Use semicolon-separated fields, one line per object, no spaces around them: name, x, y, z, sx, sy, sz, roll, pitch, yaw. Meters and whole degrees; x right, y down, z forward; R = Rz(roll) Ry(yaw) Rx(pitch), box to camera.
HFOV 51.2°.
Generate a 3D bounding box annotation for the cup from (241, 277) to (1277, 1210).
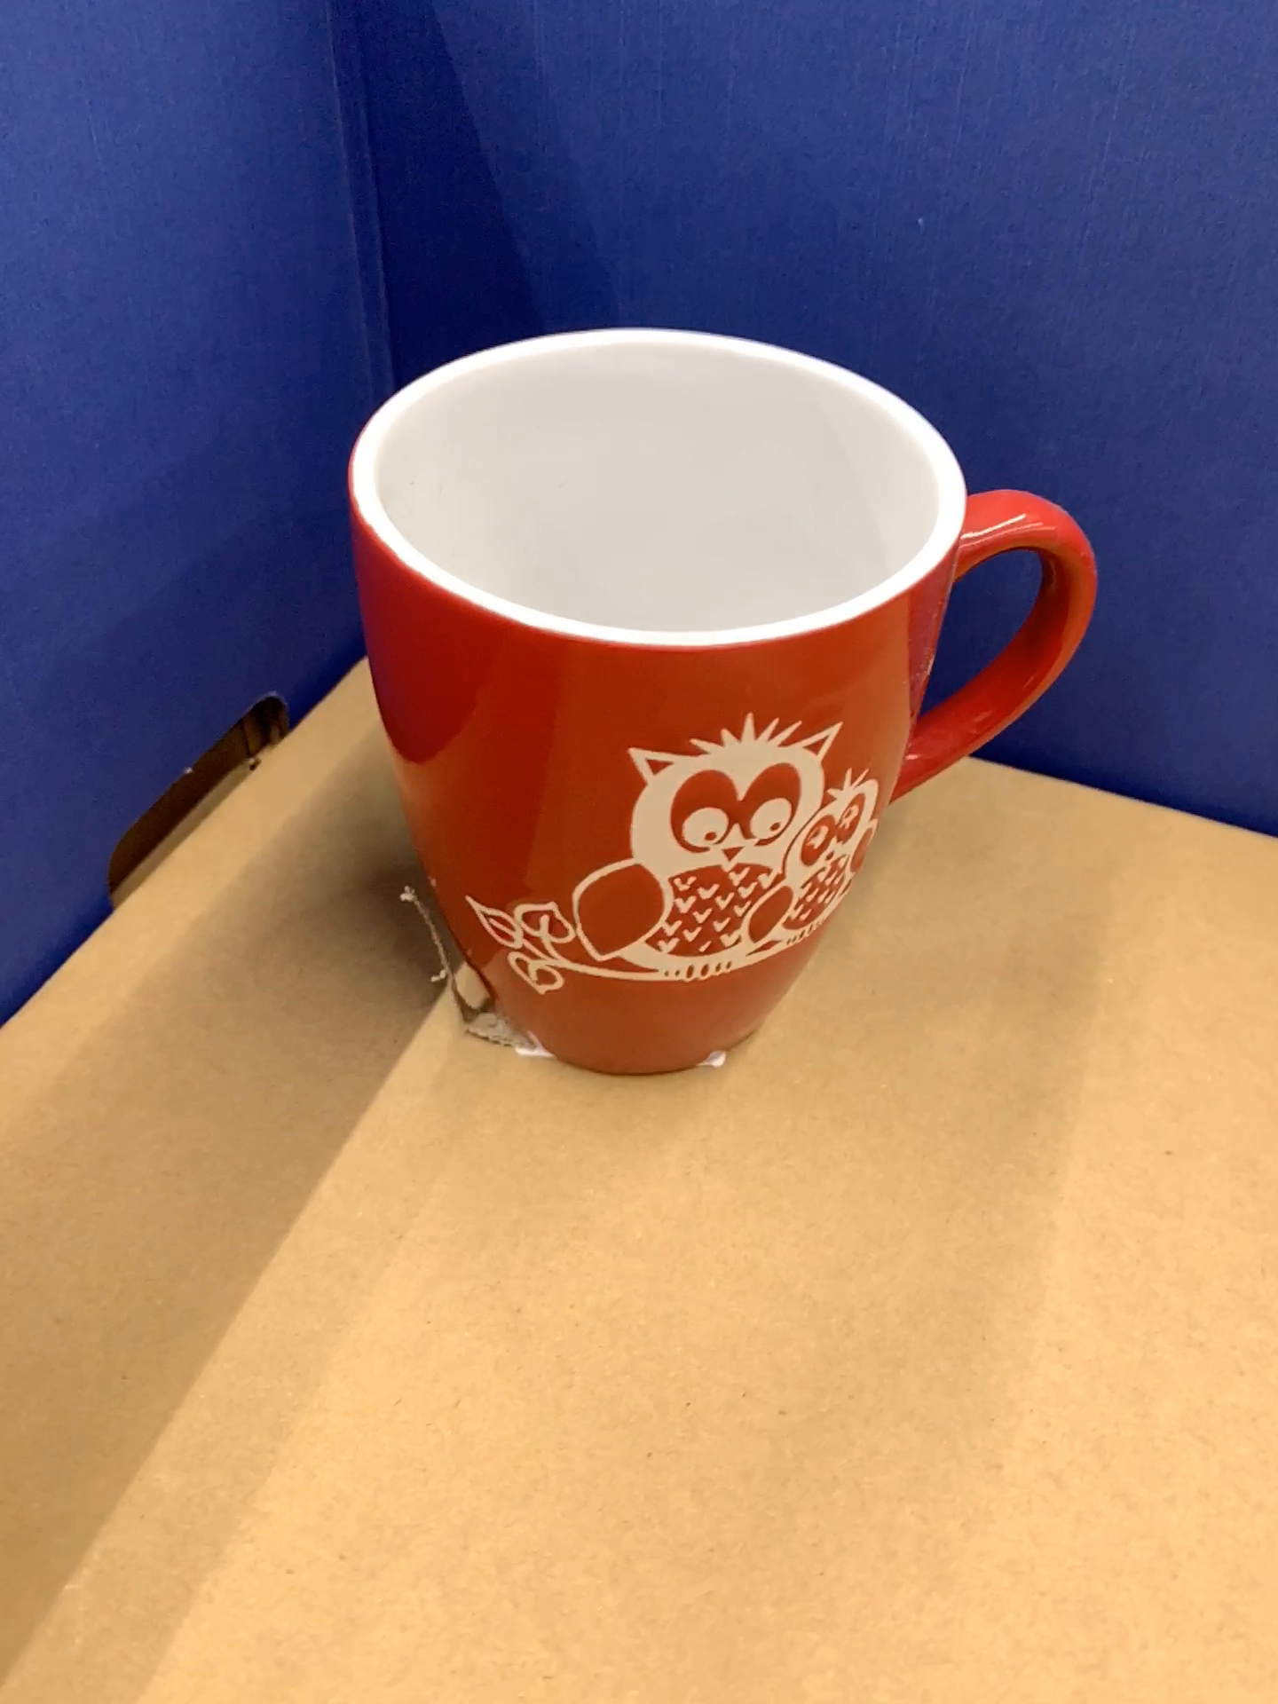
cup;0.012;-0.027;0.225;0.120;0.091;0.100;-17;45;-20
